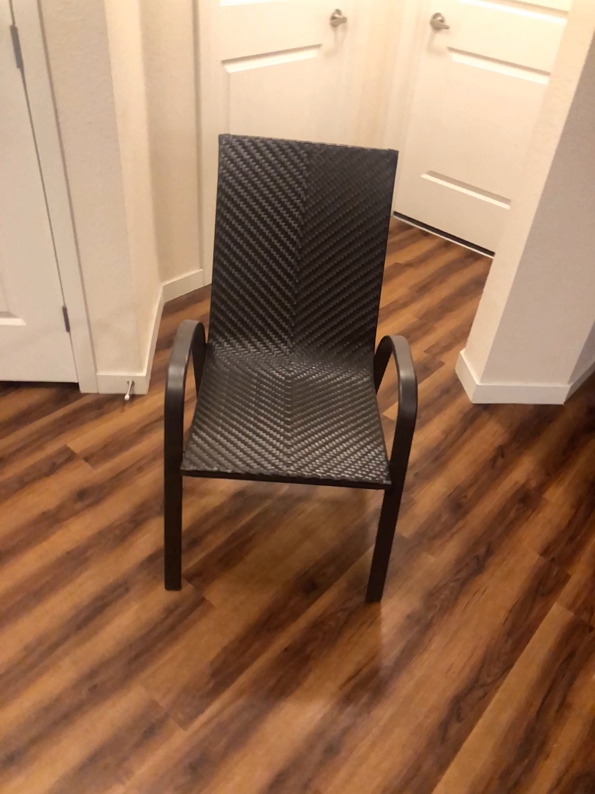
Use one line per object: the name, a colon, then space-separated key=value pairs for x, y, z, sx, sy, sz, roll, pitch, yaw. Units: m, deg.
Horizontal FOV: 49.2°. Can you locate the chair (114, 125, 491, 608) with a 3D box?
chair: x=-0.017 y=-0.080 z=1.583 sx=0.597 sy=0.853 sz=0.751 roll=4 pitch=38 yaw=-2
